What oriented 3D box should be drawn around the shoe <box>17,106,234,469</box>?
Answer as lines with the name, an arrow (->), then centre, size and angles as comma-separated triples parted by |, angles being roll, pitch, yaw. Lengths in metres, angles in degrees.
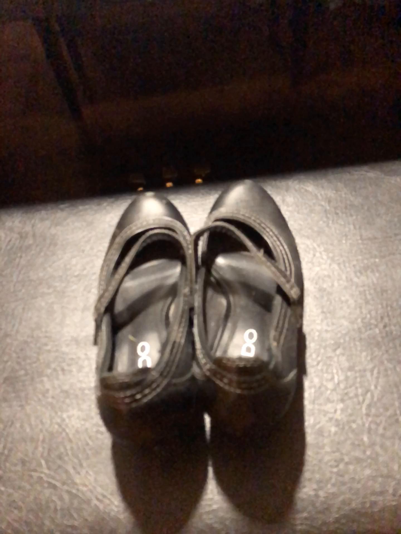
shoe -> -0.044, 0.002, 0.324 | 0.100, 0.109, 0.241 | -8, 52, 1

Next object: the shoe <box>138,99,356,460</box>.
shoe -> 0.033, -0.003, 0.317 | 0.100, 0.109, 0.241 | -1, 52, 7
